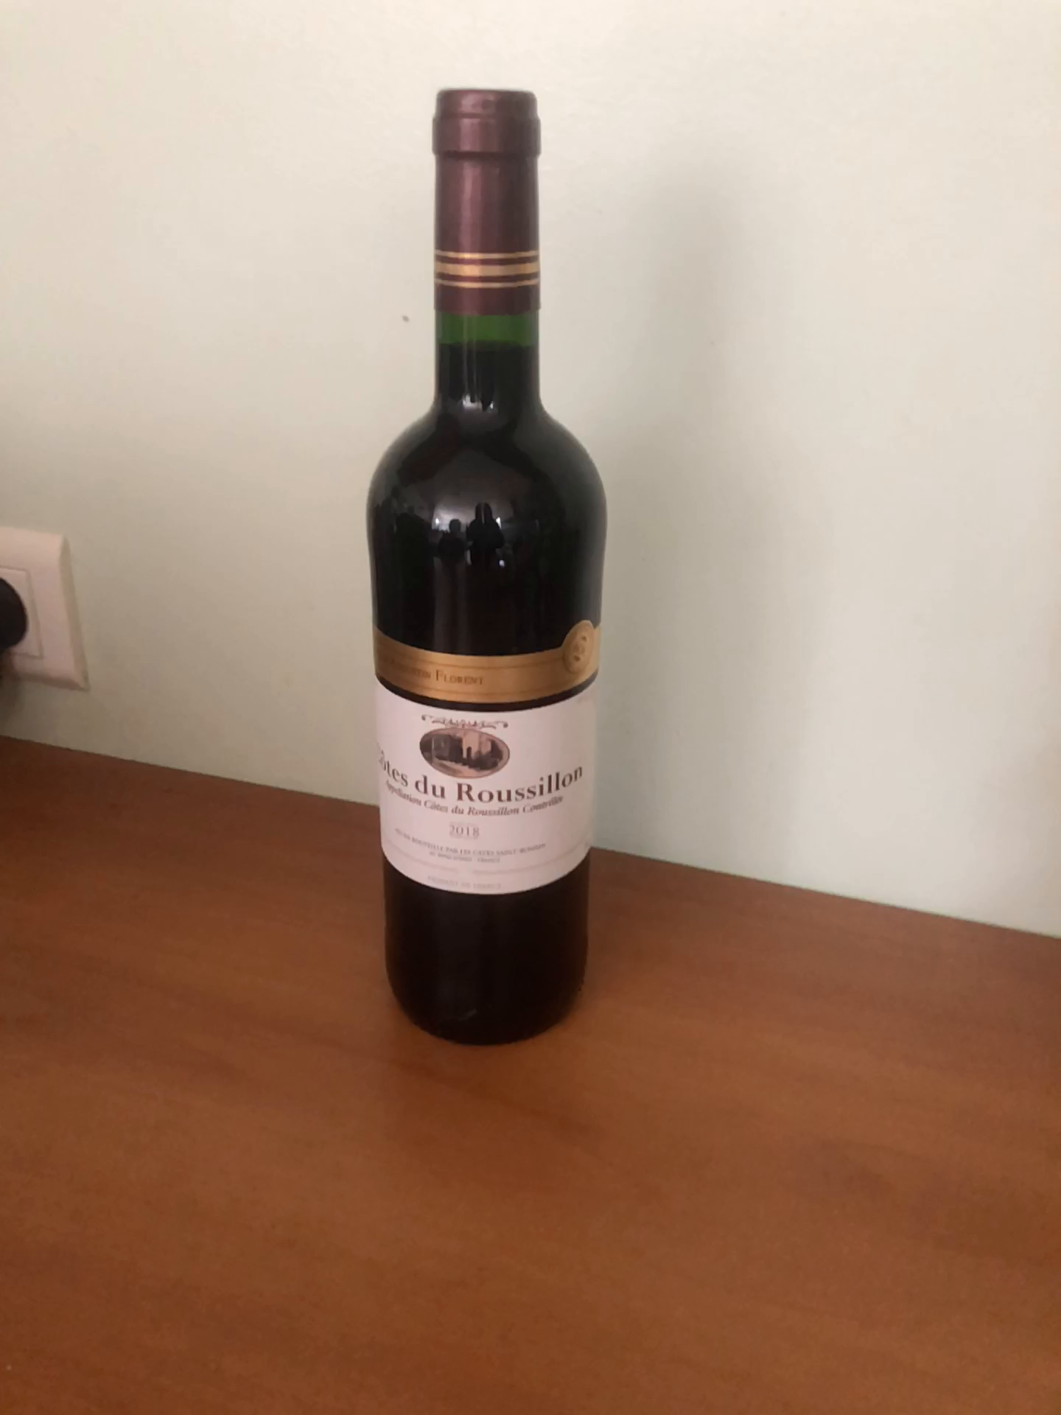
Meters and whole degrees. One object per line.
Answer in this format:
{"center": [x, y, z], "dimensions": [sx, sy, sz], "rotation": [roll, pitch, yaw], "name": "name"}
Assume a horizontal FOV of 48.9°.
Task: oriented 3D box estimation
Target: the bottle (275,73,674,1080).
{"center": [-0.013, -0.031, 0.363], "dimensions": [0.080, 0.288, 0.081], "rotation": [1, 26, -1], "name": "bottle"}
